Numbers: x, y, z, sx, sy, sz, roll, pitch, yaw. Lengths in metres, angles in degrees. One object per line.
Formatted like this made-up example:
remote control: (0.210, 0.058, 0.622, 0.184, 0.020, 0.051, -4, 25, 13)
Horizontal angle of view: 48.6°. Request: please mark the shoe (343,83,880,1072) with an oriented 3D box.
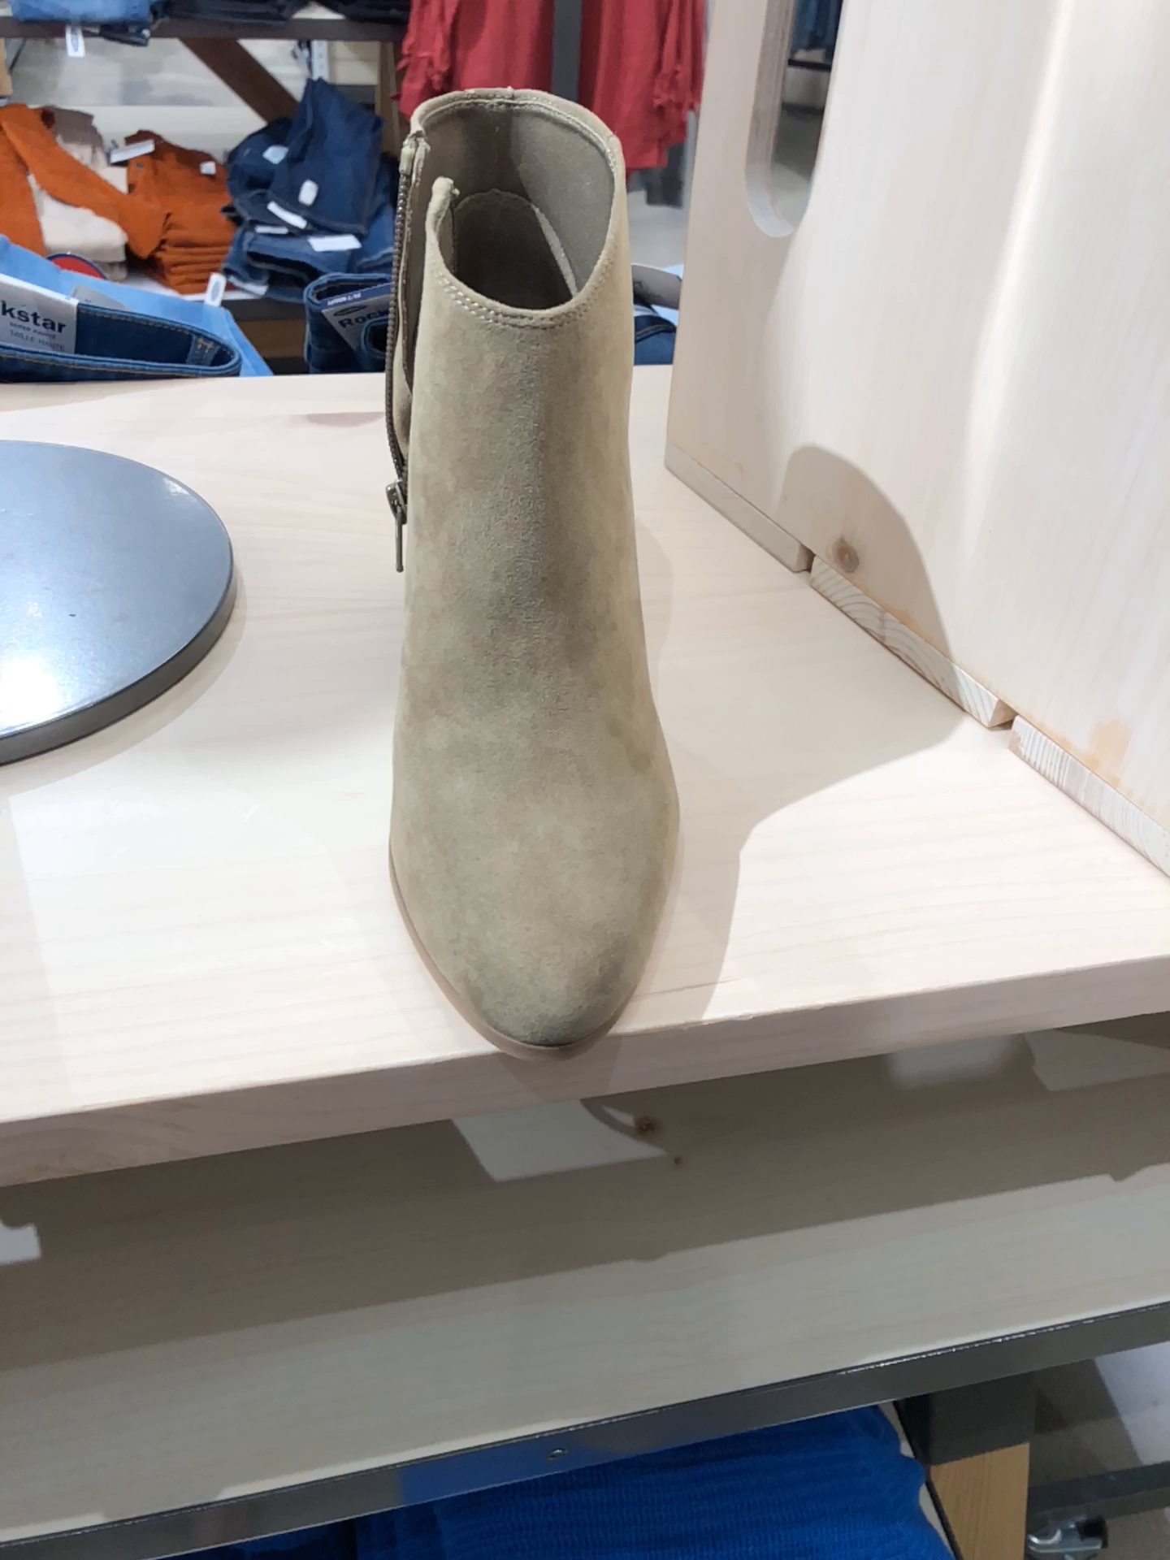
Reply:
shoe: (-0.013, -0.069, 0.356, 0.090, 0.169, 0.231, -1, 40, -7)
